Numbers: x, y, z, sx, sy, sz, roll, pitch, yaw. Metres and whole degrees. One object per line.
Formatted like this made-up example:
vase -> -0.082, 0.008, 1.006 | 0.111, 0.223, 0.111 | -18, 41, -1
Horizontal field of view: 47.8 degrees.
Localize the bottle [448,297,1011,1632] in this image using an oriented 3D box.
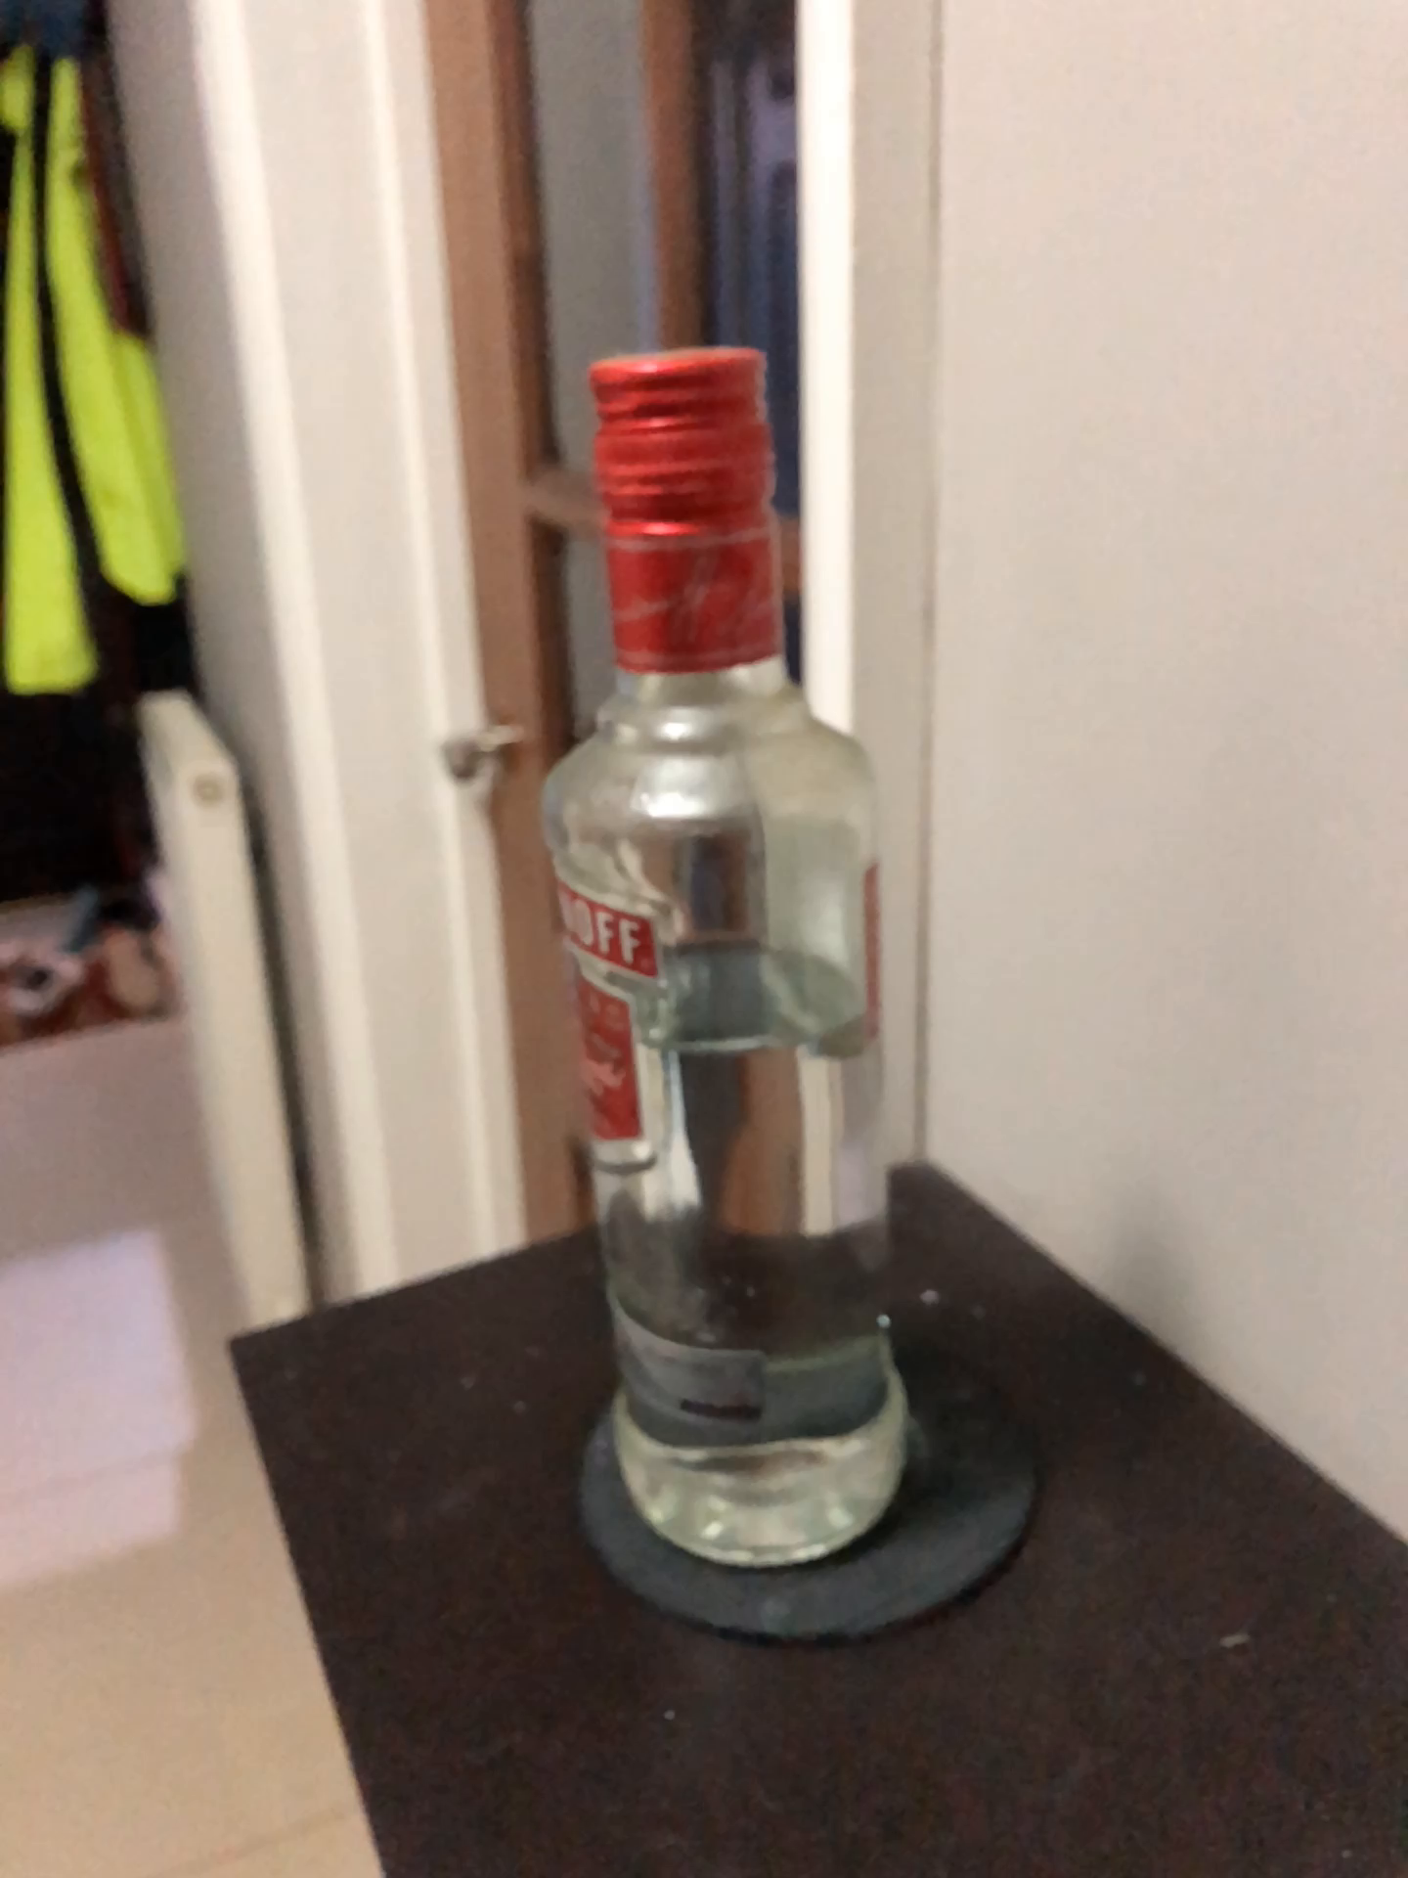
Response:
bottle -> 0.005, 0.005, 0.285 | 0.070, 0.219, 0.070 | -2, 21, 1
